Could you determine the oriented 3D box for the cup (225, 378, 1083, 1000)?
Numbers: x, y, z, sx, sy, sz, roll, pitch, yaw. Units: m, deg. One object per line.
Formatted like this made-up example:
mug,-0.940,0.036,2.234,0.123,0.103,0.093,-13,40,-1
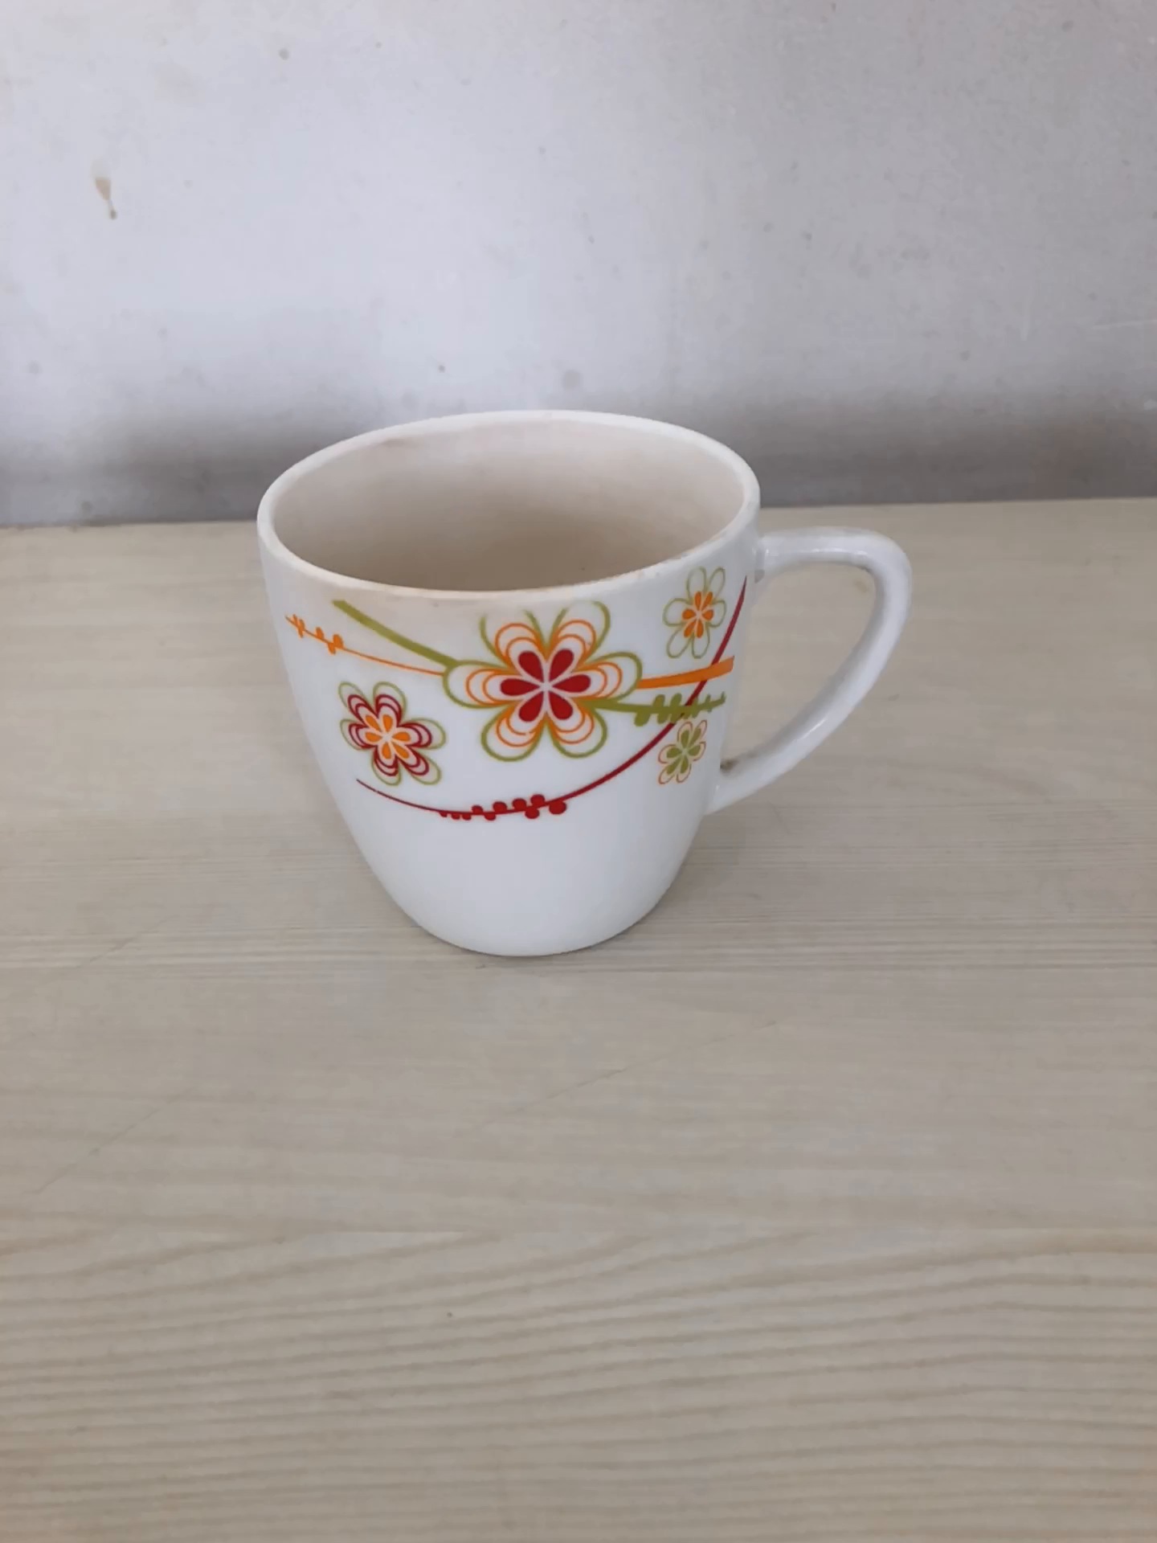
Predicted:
cup,0.009,-0.017,0.213,0.110,0.070,0.070,-4,32,-3
